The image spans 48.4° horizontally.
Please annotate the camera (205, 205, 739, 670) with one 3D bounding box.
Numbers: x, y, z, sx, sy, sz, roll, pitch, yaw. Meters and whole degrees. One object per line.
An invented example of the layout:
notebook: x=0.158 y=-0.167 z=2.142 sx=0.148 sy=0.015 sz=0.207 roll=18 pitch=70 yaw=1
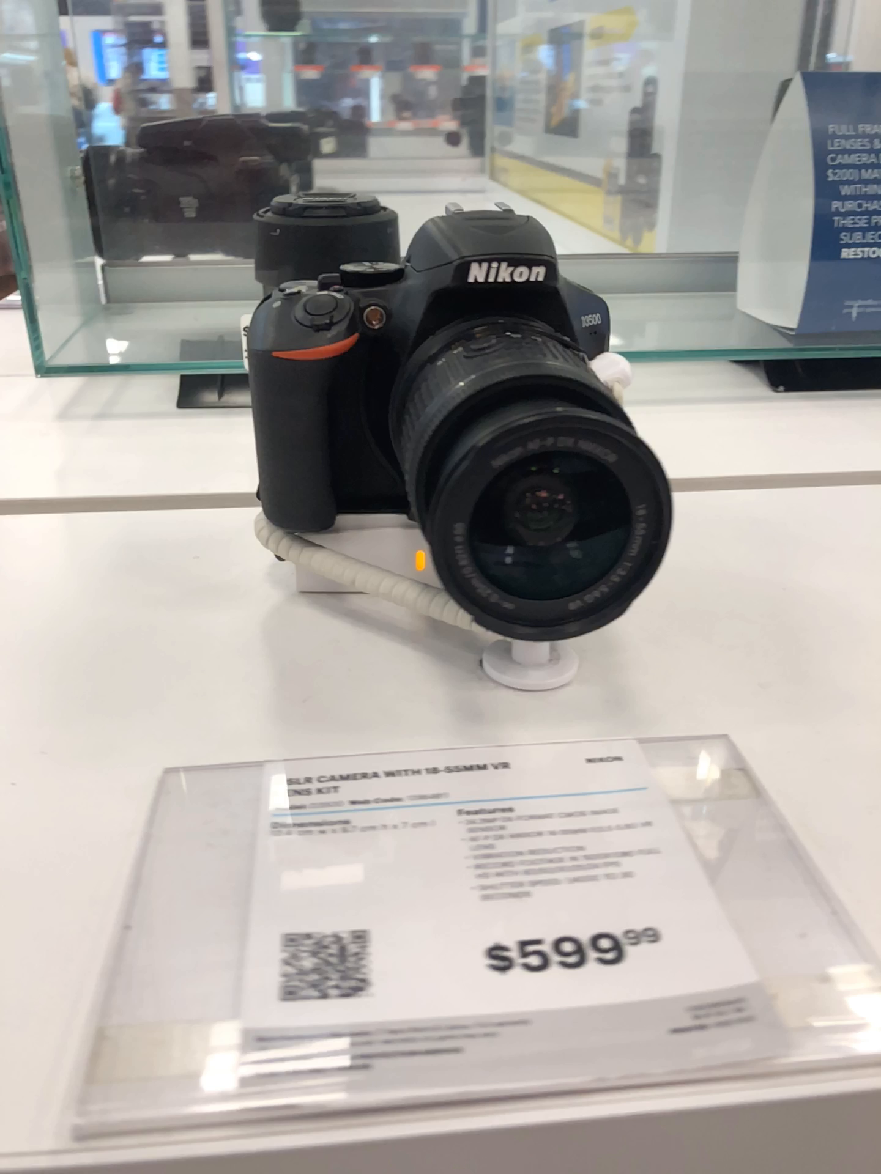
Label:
camera: x=0.002 y=-0.062 z=0.317 sx=0.120 sy=0.100 sz=0.171 roll=-2 pitch=26 yaw=-4
